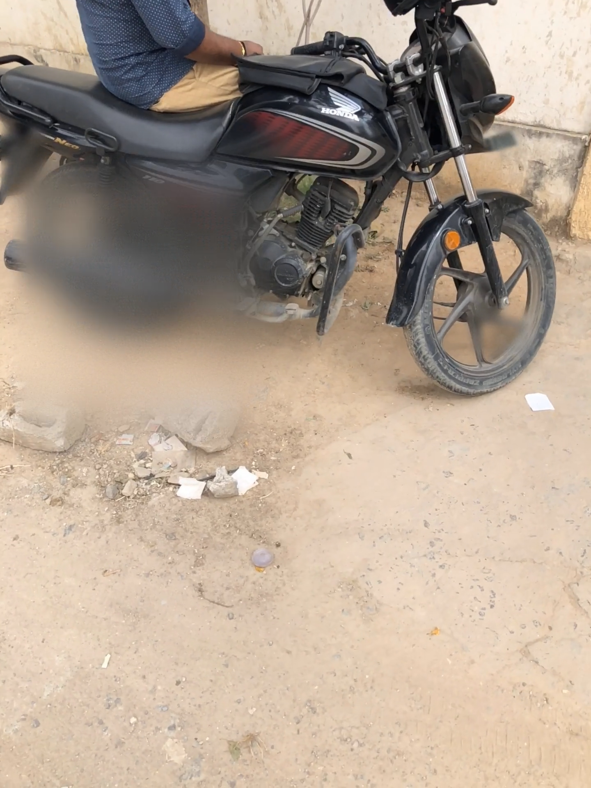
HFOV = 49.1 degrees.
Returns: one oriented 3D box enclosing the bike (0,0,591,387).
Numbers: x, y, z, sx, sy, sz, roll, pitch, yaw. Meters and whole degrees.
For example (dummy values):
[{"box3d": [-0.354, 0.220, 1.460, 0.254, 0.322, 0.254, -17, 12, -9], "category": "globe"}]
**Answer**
[{"box3d": [-0.012, -0.700, 1.990, 1.663, 1.069, 0.726, 3, 42, 5], "category": "bike"}]
